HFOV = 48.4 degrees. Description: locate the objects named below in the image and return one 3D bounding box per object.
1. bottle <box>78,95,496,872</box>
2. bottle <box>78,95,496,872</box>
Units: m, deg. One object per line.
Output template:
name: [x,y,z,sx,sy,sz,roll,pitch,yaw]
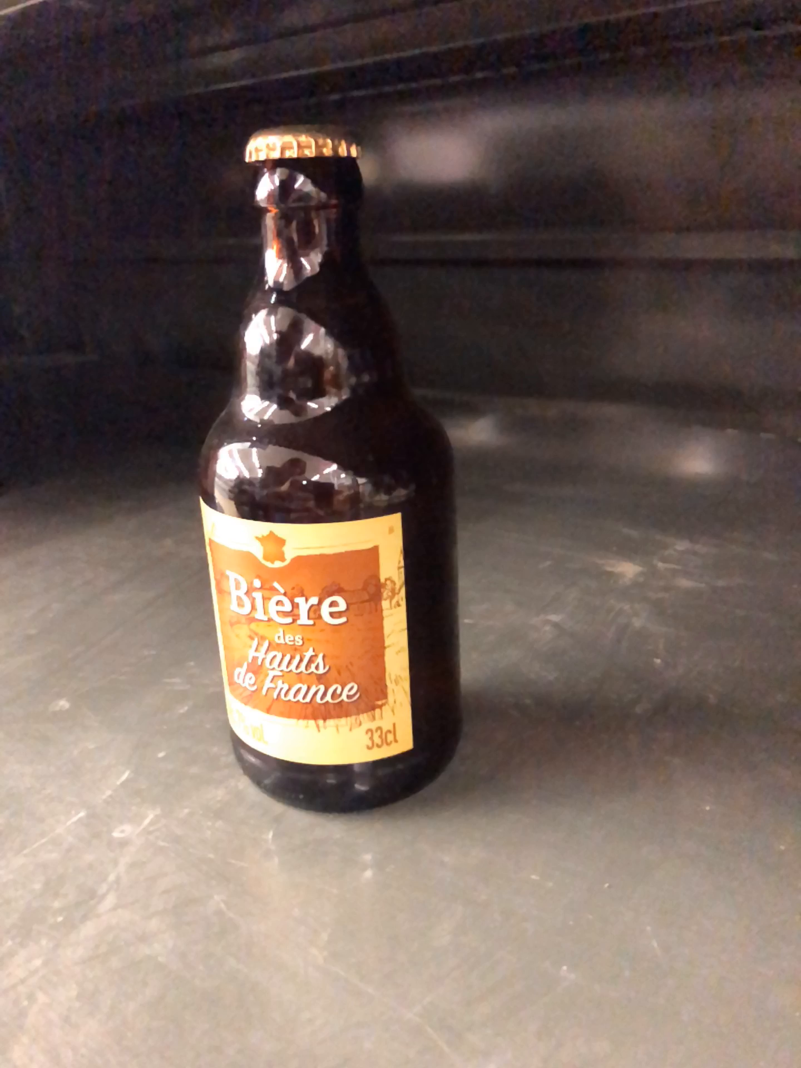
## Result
bottle: [-0.021,-0.013,0.243,0.070,0.179,0.070,-3,19,1]
bottle: [-0.021,-0.013,0.243,0.070,0.179,0.070,-3,19,1]
